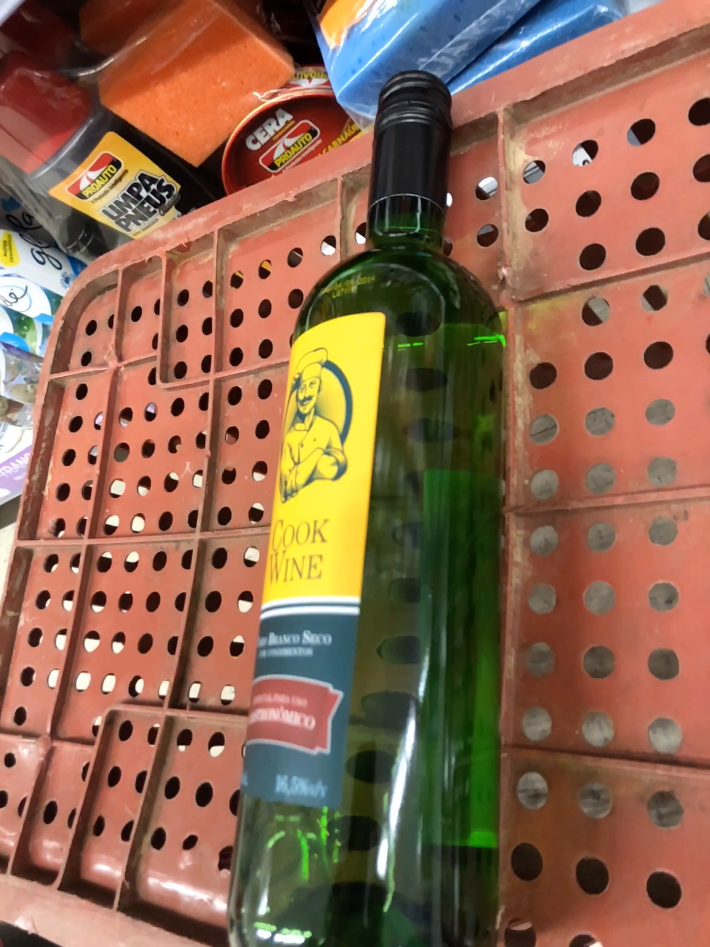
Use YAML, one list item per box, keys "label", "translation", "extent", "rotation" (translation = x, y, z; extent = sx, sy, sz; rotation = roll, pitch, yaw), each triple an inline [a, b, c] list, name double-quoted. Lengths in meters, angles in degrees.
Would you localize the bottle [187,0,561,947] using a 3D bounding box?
- label: "bottle"
  translation: [0.011, -0.017, 0.255]
  extent: [0.080, 0.060, 0.320]
  rotation: [-16, 64, 46]
